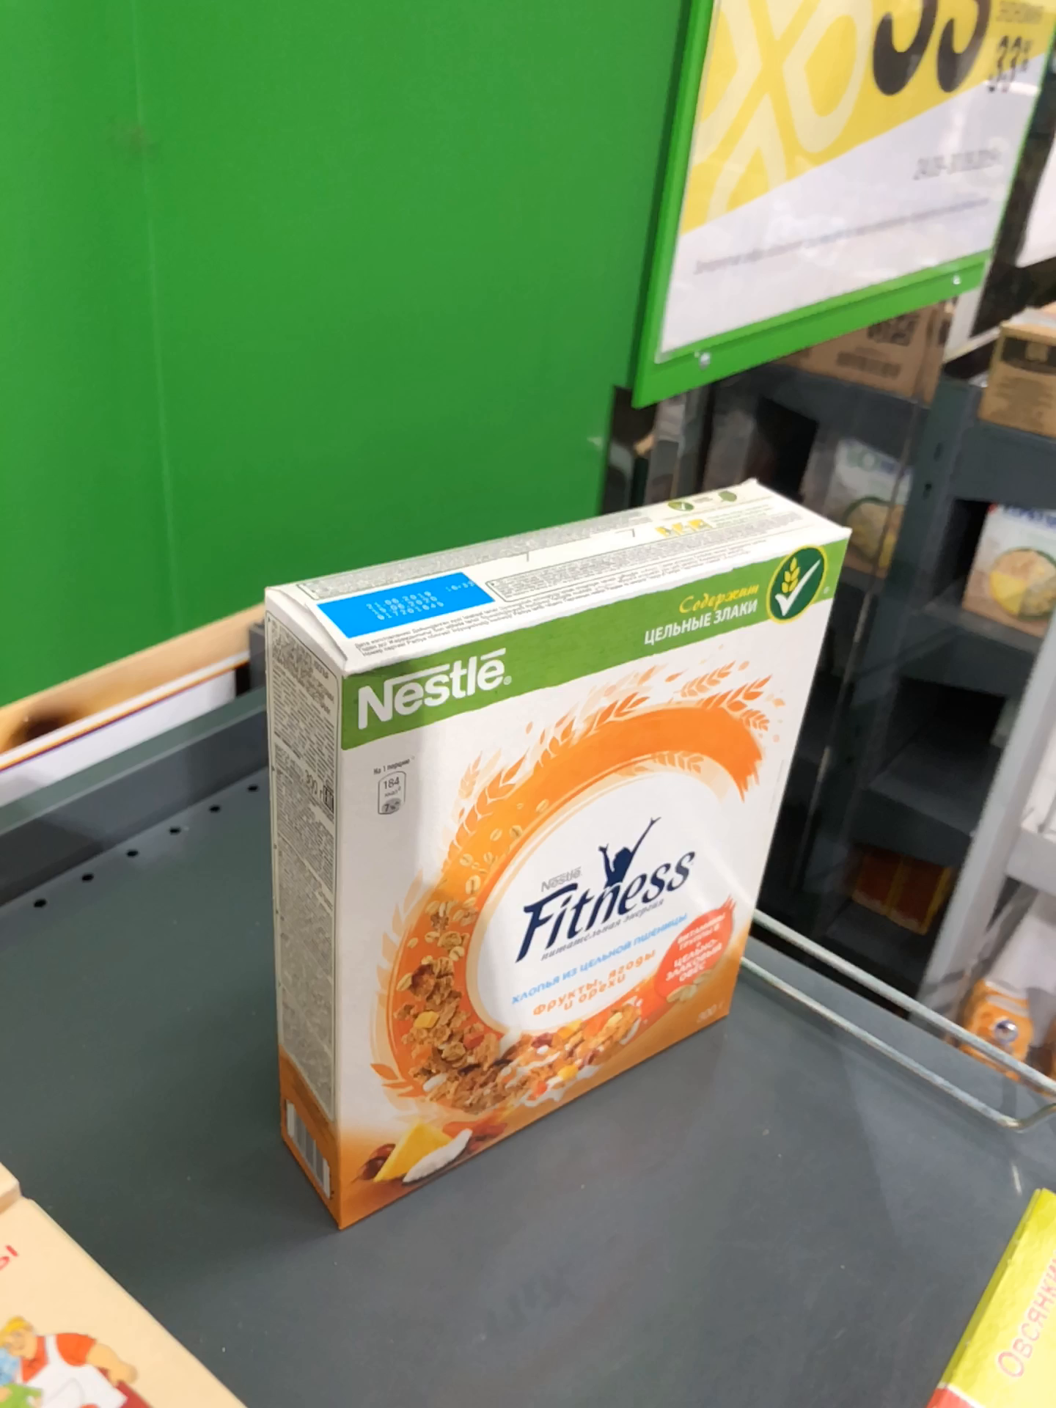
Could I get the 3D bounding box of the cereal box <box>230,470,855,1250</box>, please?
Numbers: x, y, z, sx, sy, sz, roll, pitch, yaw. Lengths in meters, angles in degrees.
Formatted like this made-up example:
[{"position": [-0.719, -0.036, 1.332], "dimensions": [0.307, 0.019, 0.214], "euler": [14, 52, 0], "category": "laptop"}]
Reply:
[{"position": [0.003, 0.053, 0.428], "dimensions": [0.200, 0.239, 0.060], "euler": [-17, 38, -33], "category": "cereal box"}]
